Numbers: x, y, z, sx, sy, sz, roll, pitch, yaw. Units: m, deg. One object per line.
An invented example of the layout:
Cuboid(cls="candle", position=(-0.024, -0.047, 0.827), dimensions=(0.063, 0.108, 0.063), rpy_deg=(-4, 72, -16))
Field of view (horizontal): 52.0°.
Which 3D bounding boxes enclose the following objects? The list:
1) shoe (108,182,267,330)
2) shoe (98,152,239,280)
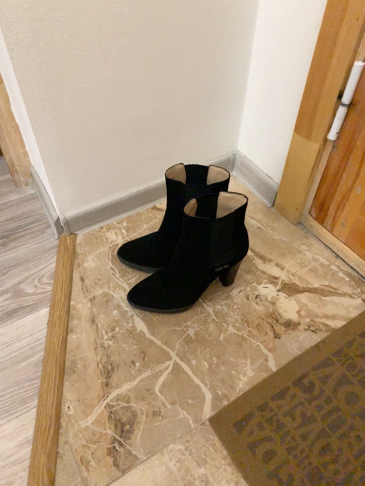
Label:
Cuboid(cls="shoe", position=(0.005, 0.026, 0.617), dimensions=(0.214, 0.199, 0.087), rpy_deg=(-14, 49, -14))
Cuboid(cls="shoe", position=(-0.026, -0.044, 0.673), dimensions=(0.214, 0.199, 0.087), rpy_deg=(-8, 48, -8))
